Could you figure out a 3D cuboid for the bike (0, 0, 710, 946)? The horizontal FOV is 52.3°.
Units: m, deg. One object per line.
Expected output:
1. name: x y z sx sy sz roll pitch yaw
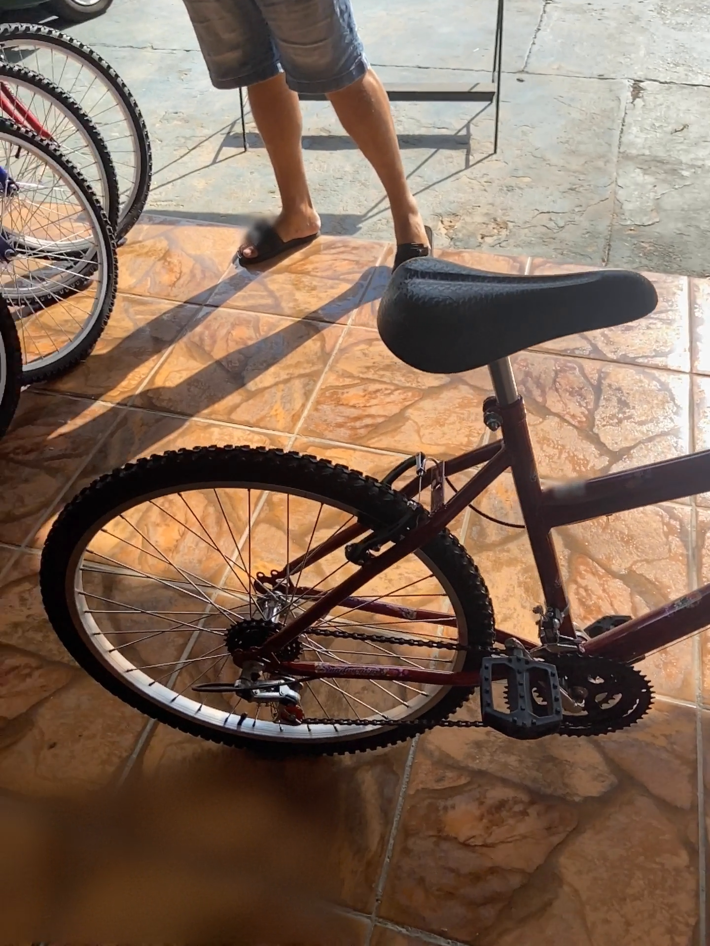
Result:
1. bike: 0.233 0.120 0.789 1.408 1.081 0.552 12 50 15
